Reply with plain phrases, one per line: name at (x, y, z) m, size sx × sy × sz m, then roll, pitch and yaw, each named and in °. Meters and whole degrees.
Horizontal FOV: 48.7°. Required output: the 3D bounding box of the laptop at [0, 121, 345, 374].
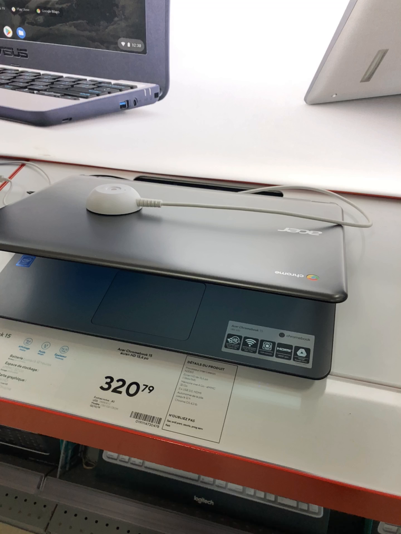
laptop at (-0.042, -0.050, 0.491) m, size 0.369 × 0.088 × 0.249 m, roll 9°, pitch 46°, yaw 14°
